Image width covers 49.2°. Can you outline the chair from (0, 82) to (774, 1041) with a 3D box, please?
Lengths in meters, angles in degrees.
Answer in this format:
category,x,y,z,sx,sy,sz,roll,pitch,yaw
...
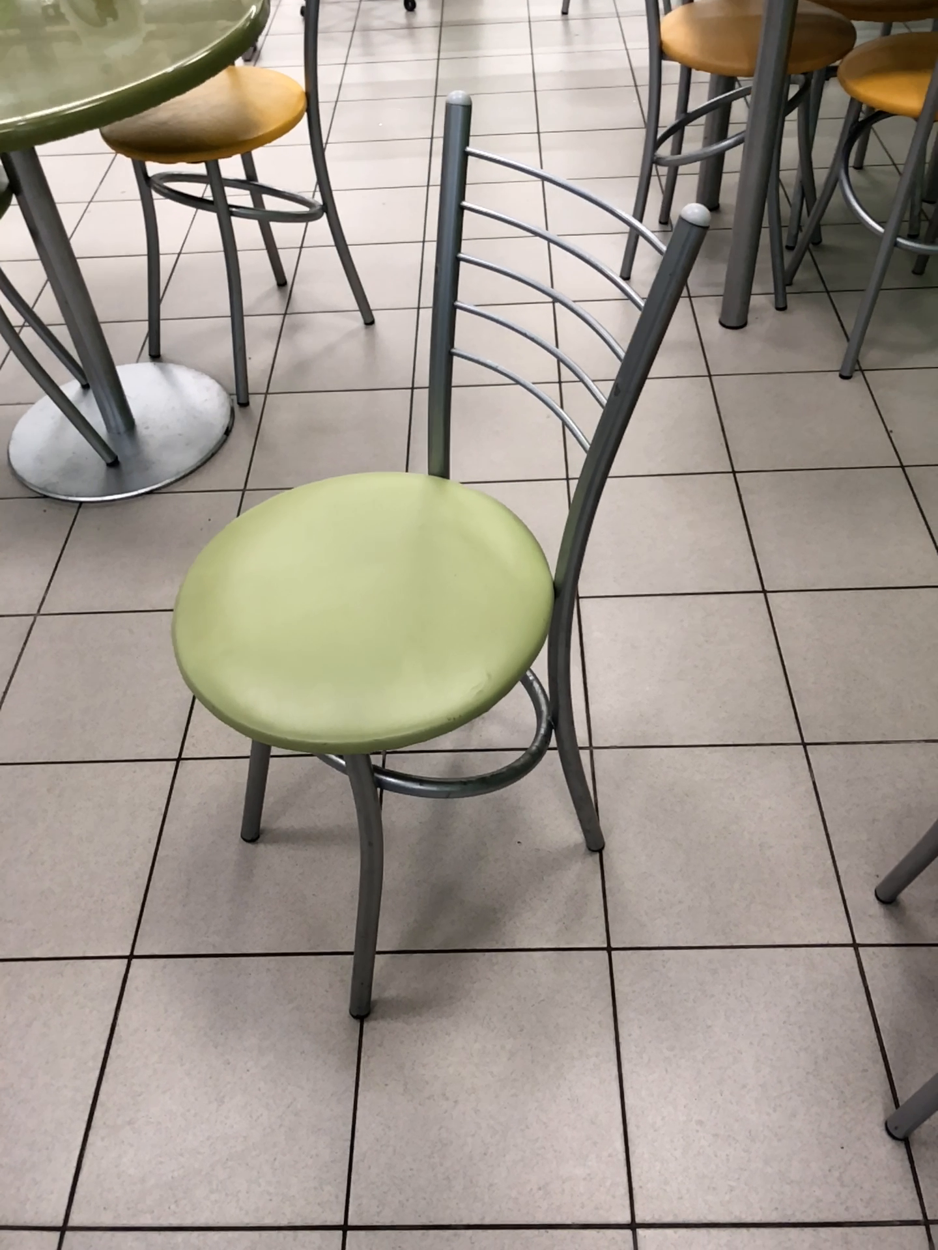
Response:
category,x,y,z,sx,sy,sz,roll,pitch,yaw
chair,-0.059,-0.015,1.074,0.480,0.826,0.375,-29,52,-21
